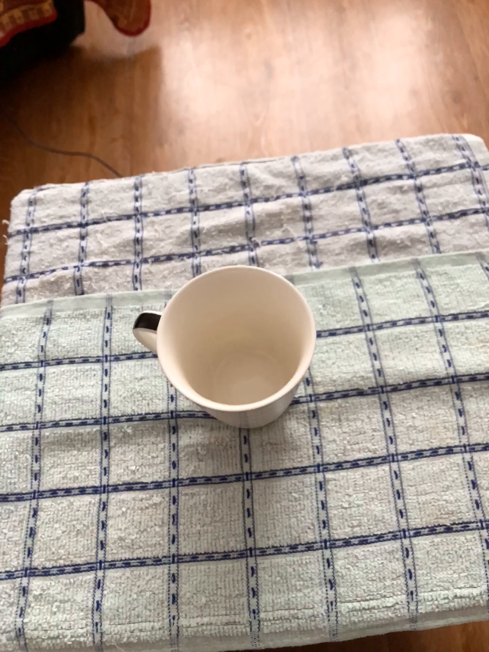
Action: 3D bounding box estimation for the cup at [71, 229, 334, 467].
[{"bbox_3d":[-0.020,0.016,0.347,0.123,0.090,0.091,19,69,13],"label":"cup"}]
